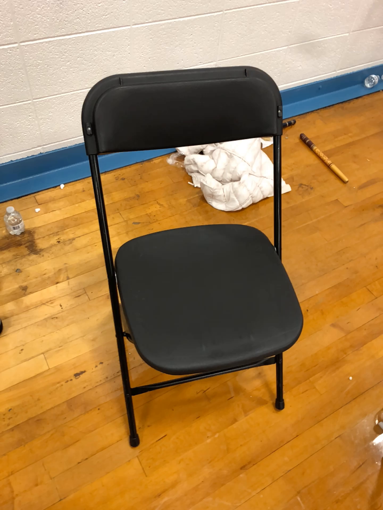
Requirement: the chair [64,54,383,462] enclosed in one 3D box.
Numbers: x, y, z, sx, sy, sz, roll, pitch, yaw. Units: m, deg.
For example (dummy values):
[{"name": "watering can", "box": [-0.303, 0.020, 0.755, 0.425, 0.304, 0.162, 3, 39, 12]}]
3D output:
[{"name": "chair", "box": [0.027, 0.032, 0.961, 0.471, 0.720, 0.526, -9, 50, -13]}]
